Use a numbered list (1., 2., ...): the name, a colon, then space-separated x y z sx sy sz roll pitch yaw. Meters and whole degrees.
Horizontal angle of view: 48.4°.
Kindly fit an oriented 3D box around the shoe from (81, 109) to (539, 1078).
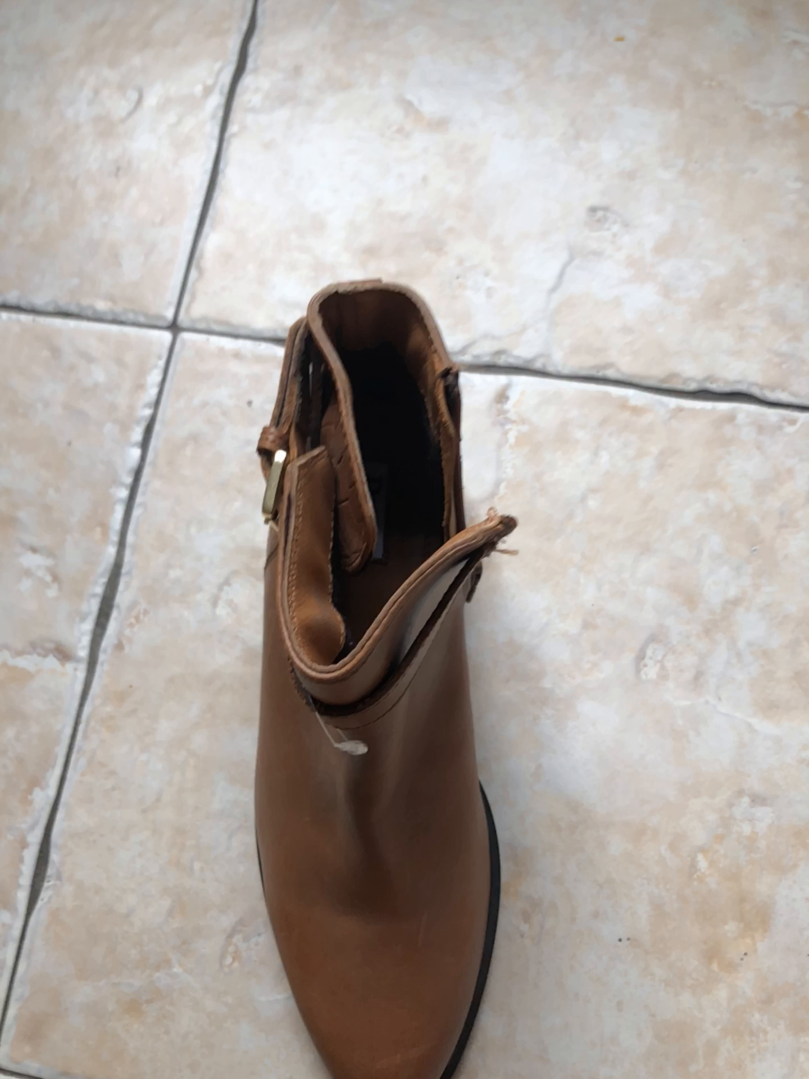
1. shoe: -0.009 0.048 0.301 0.090 0.180 0.300 0 75 5
